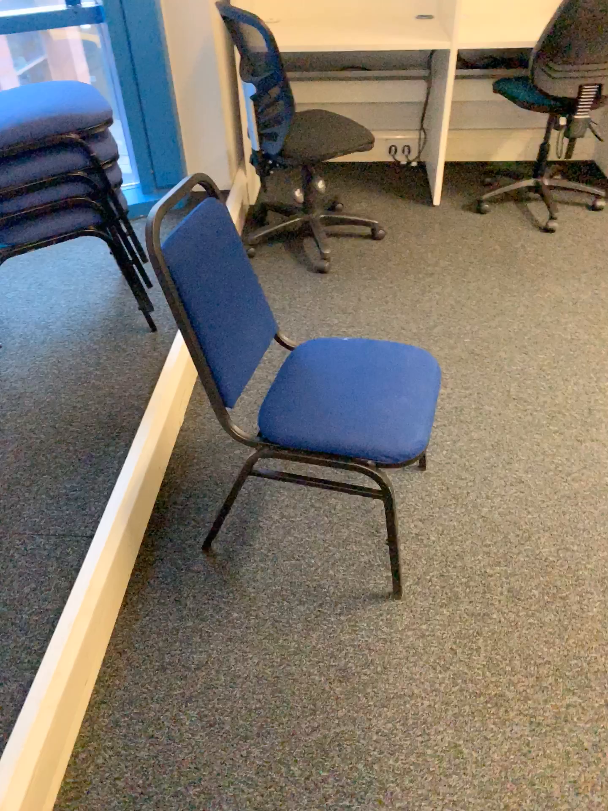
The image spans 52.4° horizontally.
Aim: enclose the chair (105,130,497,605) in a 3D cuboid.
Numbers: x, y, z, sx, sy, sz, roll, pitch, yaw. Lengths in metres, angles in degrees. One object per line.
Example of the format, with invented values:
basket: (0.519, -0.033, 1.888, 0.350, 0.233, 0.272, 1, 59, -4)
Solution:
chair: (0.043, -0.070, 1.348, 0.574, 0.843, 0.476, 9, 42, 13)
